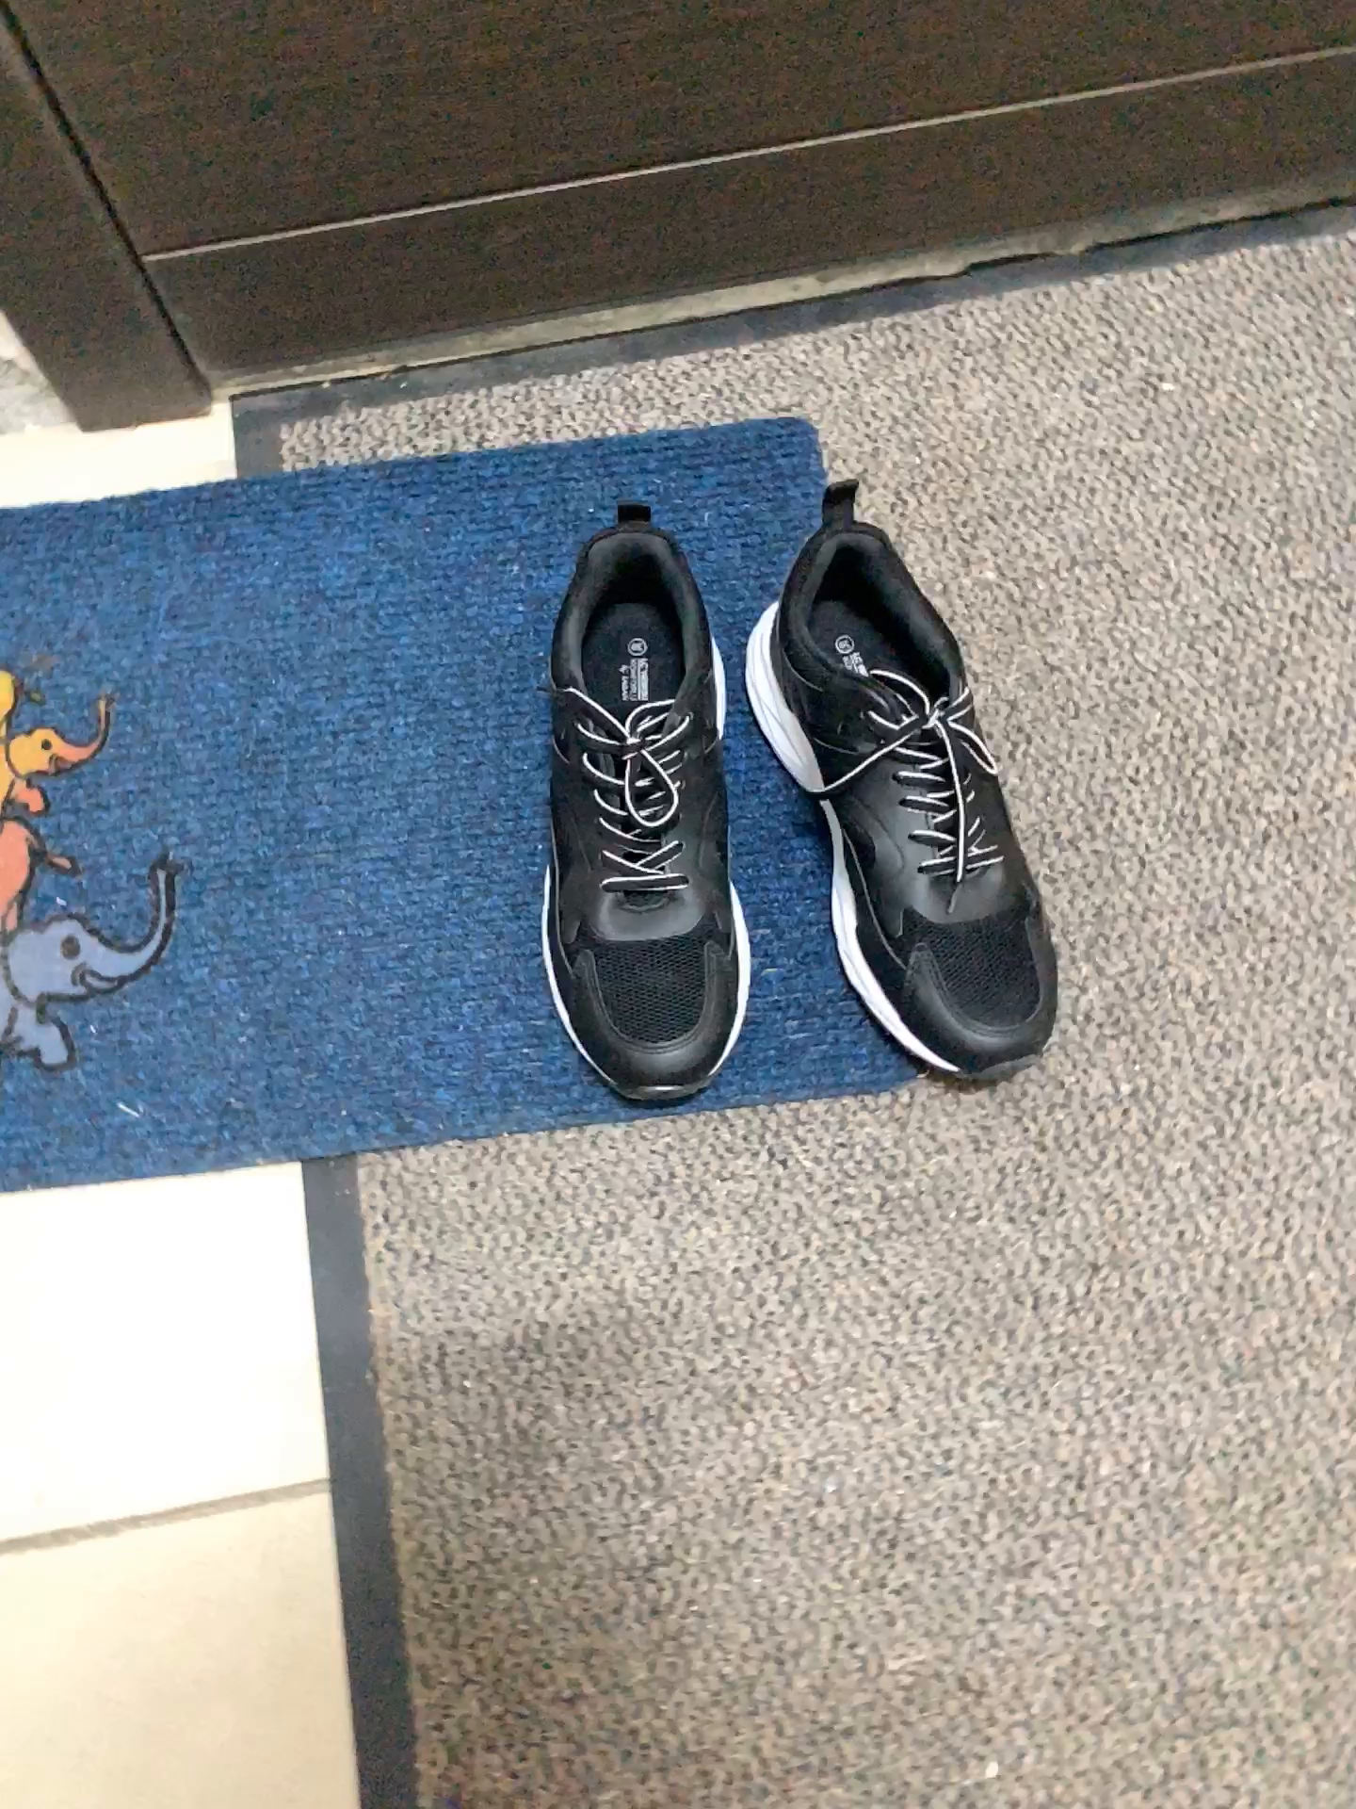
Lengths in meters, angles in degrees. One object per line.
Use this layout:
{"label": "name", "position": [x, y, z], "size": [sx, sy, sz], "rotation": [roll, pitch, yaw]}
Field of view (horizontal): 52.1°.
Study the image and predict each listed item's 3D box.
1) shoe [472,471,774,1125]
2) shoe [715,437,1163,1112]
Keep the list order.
{"label": "shoe", "position": [-0.025, -0.046, 0.607], "size": [0.110, 0.100, 0.260], "rotation": [-4, 69, 2]}
{"label": "shoe", "position": [0.101, -0.058, 0.608], "size": [0.110, 0.100, 0.260], "rotation": [-13, 69, -2]}
